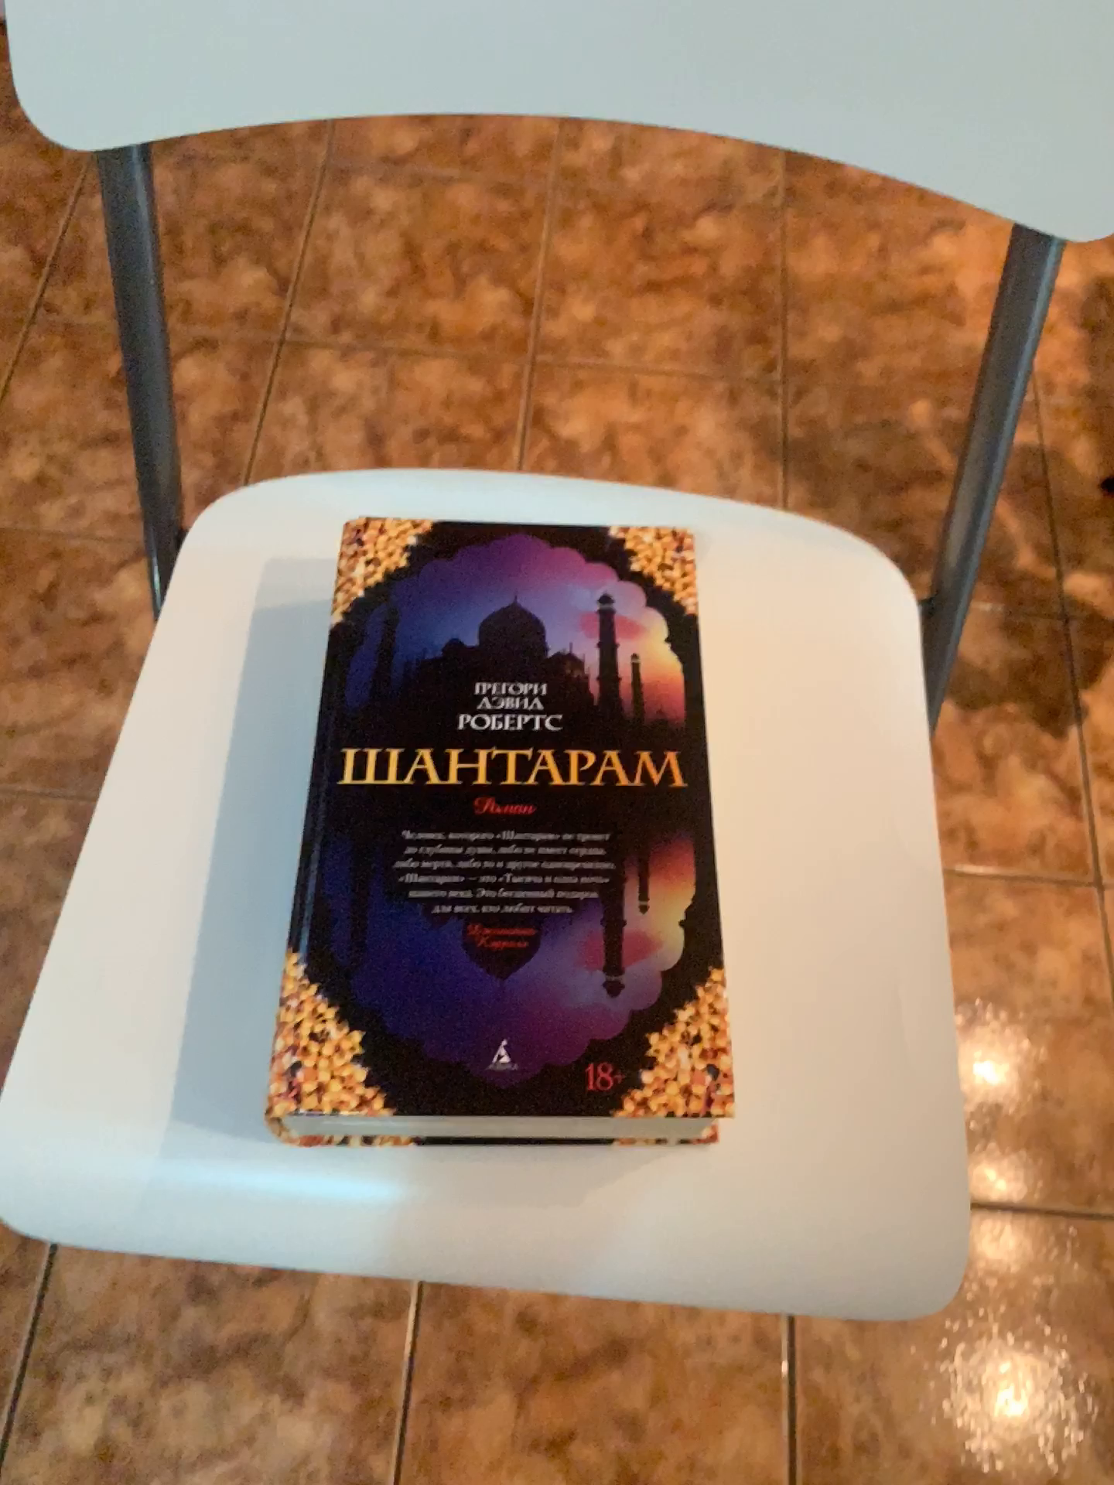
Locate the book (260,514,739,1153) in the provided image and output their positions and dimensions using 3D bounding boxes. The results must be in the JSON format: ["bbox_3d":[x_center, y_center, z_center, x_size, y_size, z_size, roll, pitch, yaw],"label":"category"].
[{"bbox_3d":[-0.017,0.023,0.424,0.145,0.044,0.237,1,61,0],"label":"book"}]
